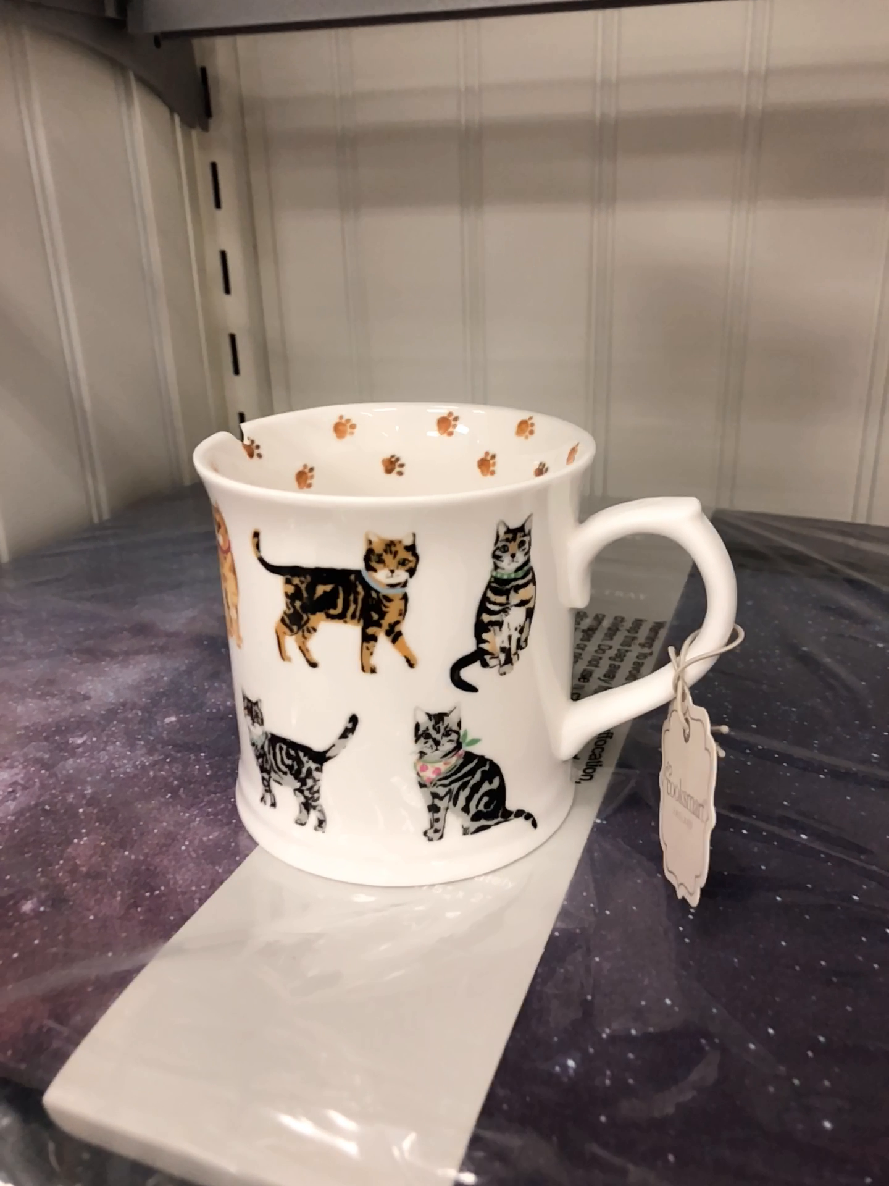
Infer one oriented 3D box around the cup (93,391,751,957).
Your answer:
[{"bbox_3d":[0.003,0.009,0.260,0.137,0.099,0.096,6,24,17],"label":"cup"}]
